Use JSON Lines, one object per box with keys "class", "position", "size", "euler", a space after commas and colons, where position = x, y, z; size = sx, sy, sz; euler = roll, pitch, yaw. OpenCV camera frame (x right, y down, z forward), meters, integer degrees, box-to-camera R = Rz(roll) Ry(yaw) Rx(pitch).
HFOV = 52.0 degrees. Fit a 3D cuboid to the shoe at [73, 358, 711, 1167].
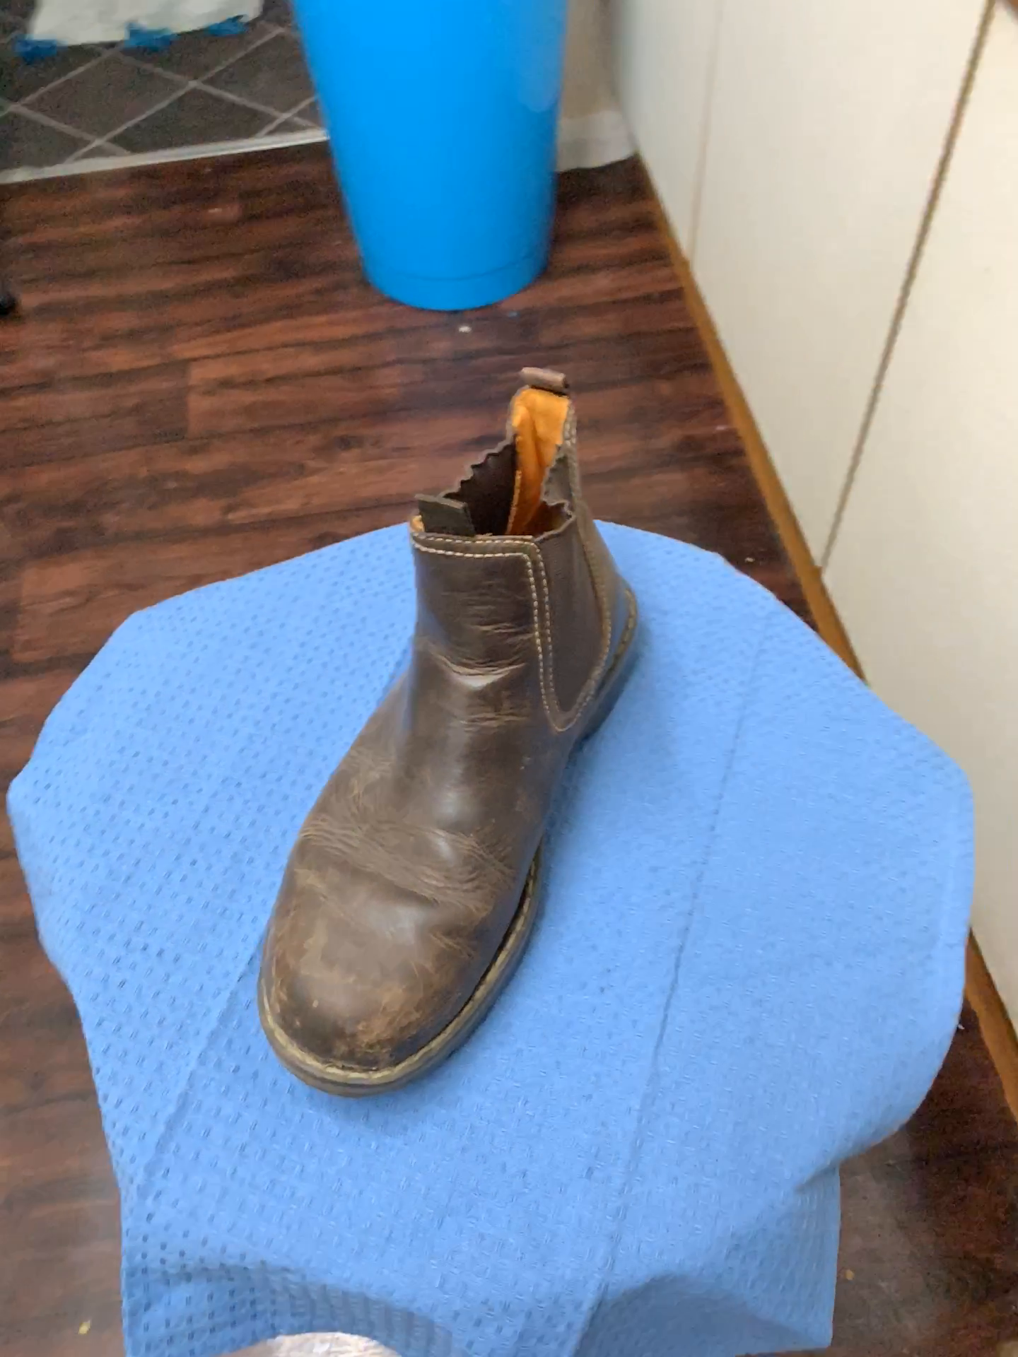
{"class": "shoe", "position": [-0.021, 0.027, 0.435], "size": [0.105, 0.156, 0.280], "euler": [20, 59, 16]}
